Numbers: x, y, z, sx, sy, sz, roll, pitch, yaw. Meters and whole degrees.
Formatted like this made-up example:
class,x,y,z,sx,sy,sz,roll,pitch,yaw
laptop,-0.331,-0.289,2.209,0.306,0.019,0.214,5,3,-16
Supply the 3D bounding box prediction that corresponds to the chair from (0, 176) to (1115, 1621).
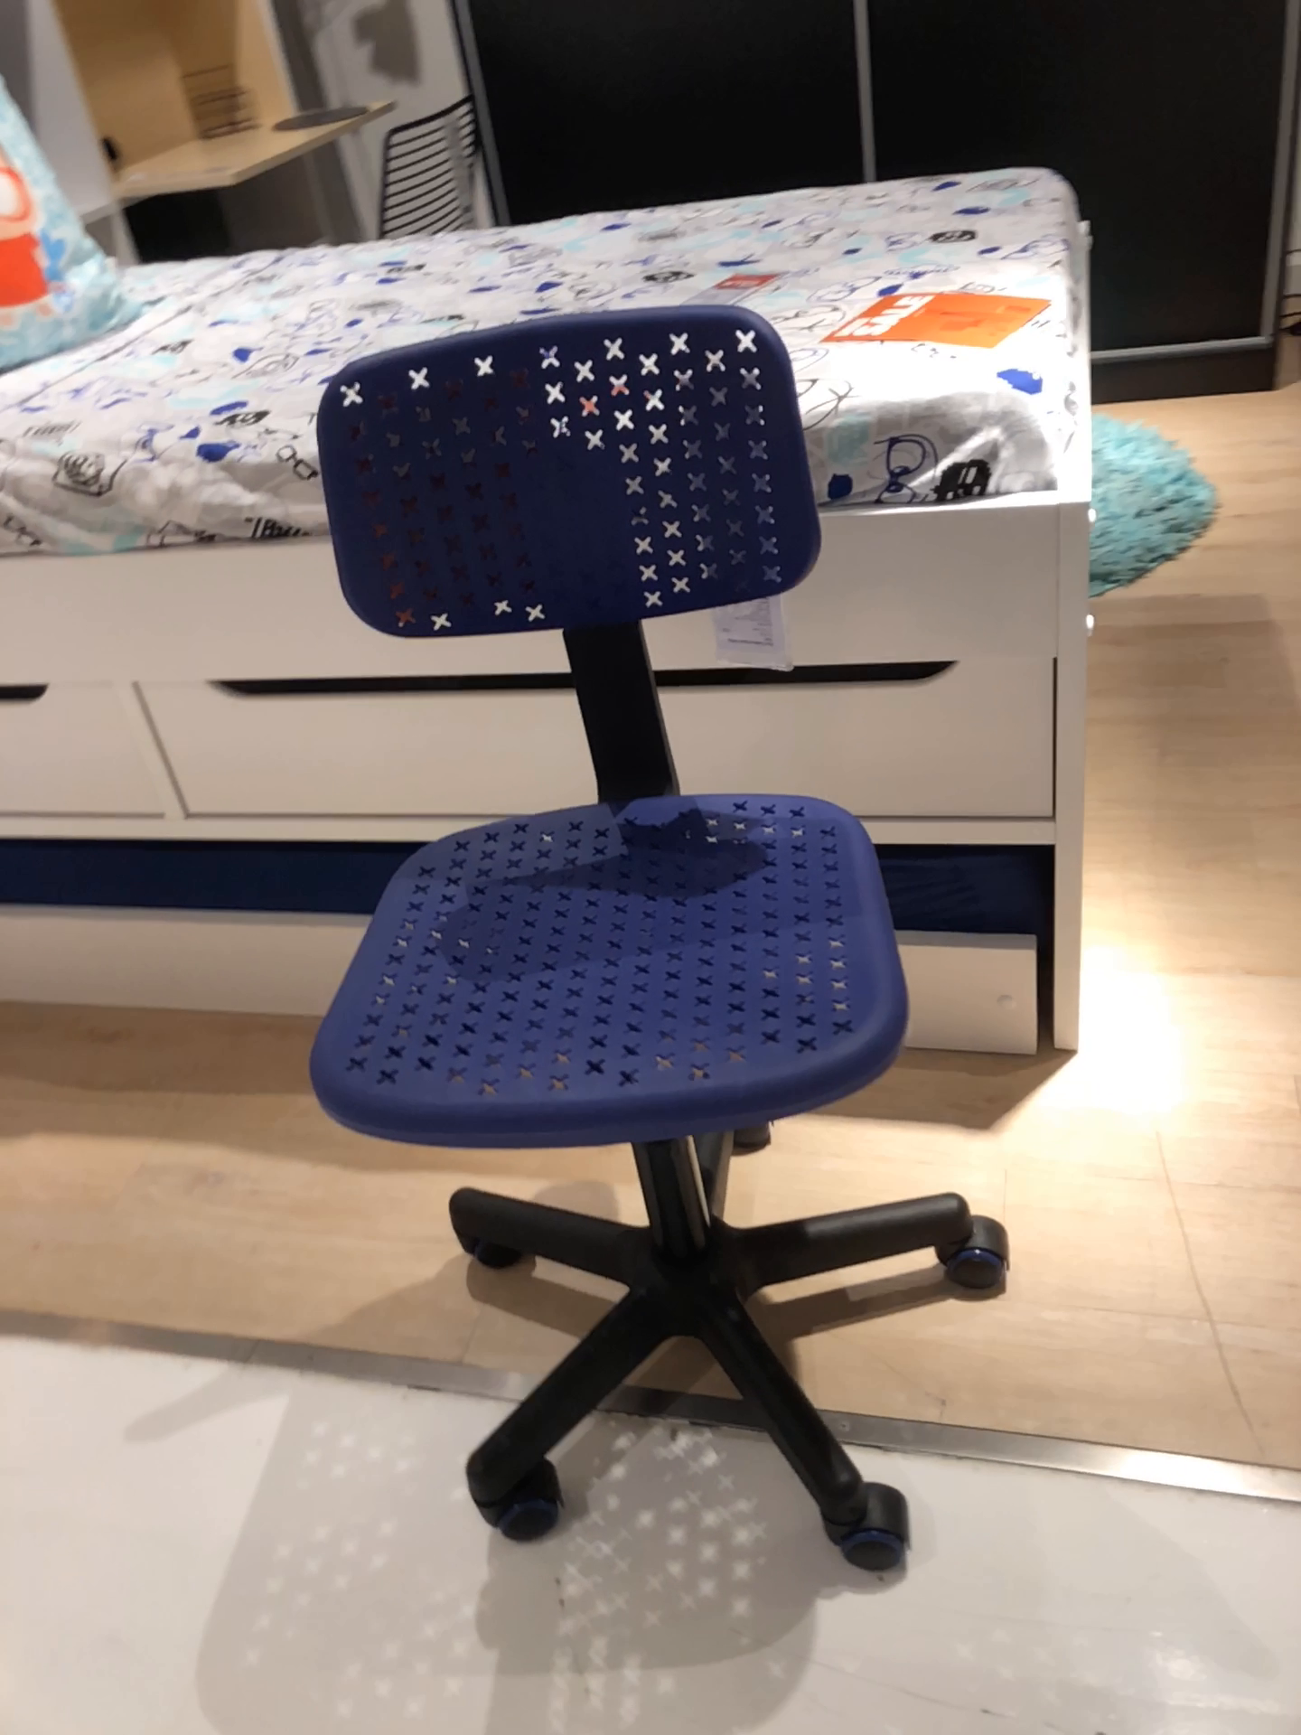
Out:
class,x,y,z,sx,sy,sz,roll,pitch,yaw
chair,0.009,0.037,1.017,0.550,0.814,0.524,-2,35,13
